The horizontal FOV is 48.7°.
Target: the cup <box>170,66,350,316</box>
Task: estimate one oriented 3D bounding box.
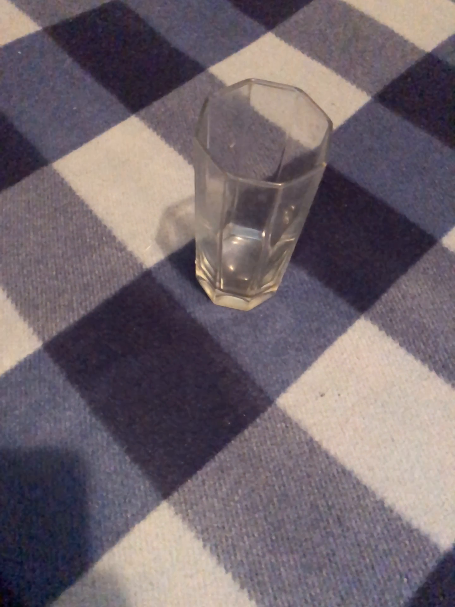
[{"bbox_3d":[0.011,-0.057,0.307,0.082,0.137,0.077,2,63,-3],"label":"cup"}]
